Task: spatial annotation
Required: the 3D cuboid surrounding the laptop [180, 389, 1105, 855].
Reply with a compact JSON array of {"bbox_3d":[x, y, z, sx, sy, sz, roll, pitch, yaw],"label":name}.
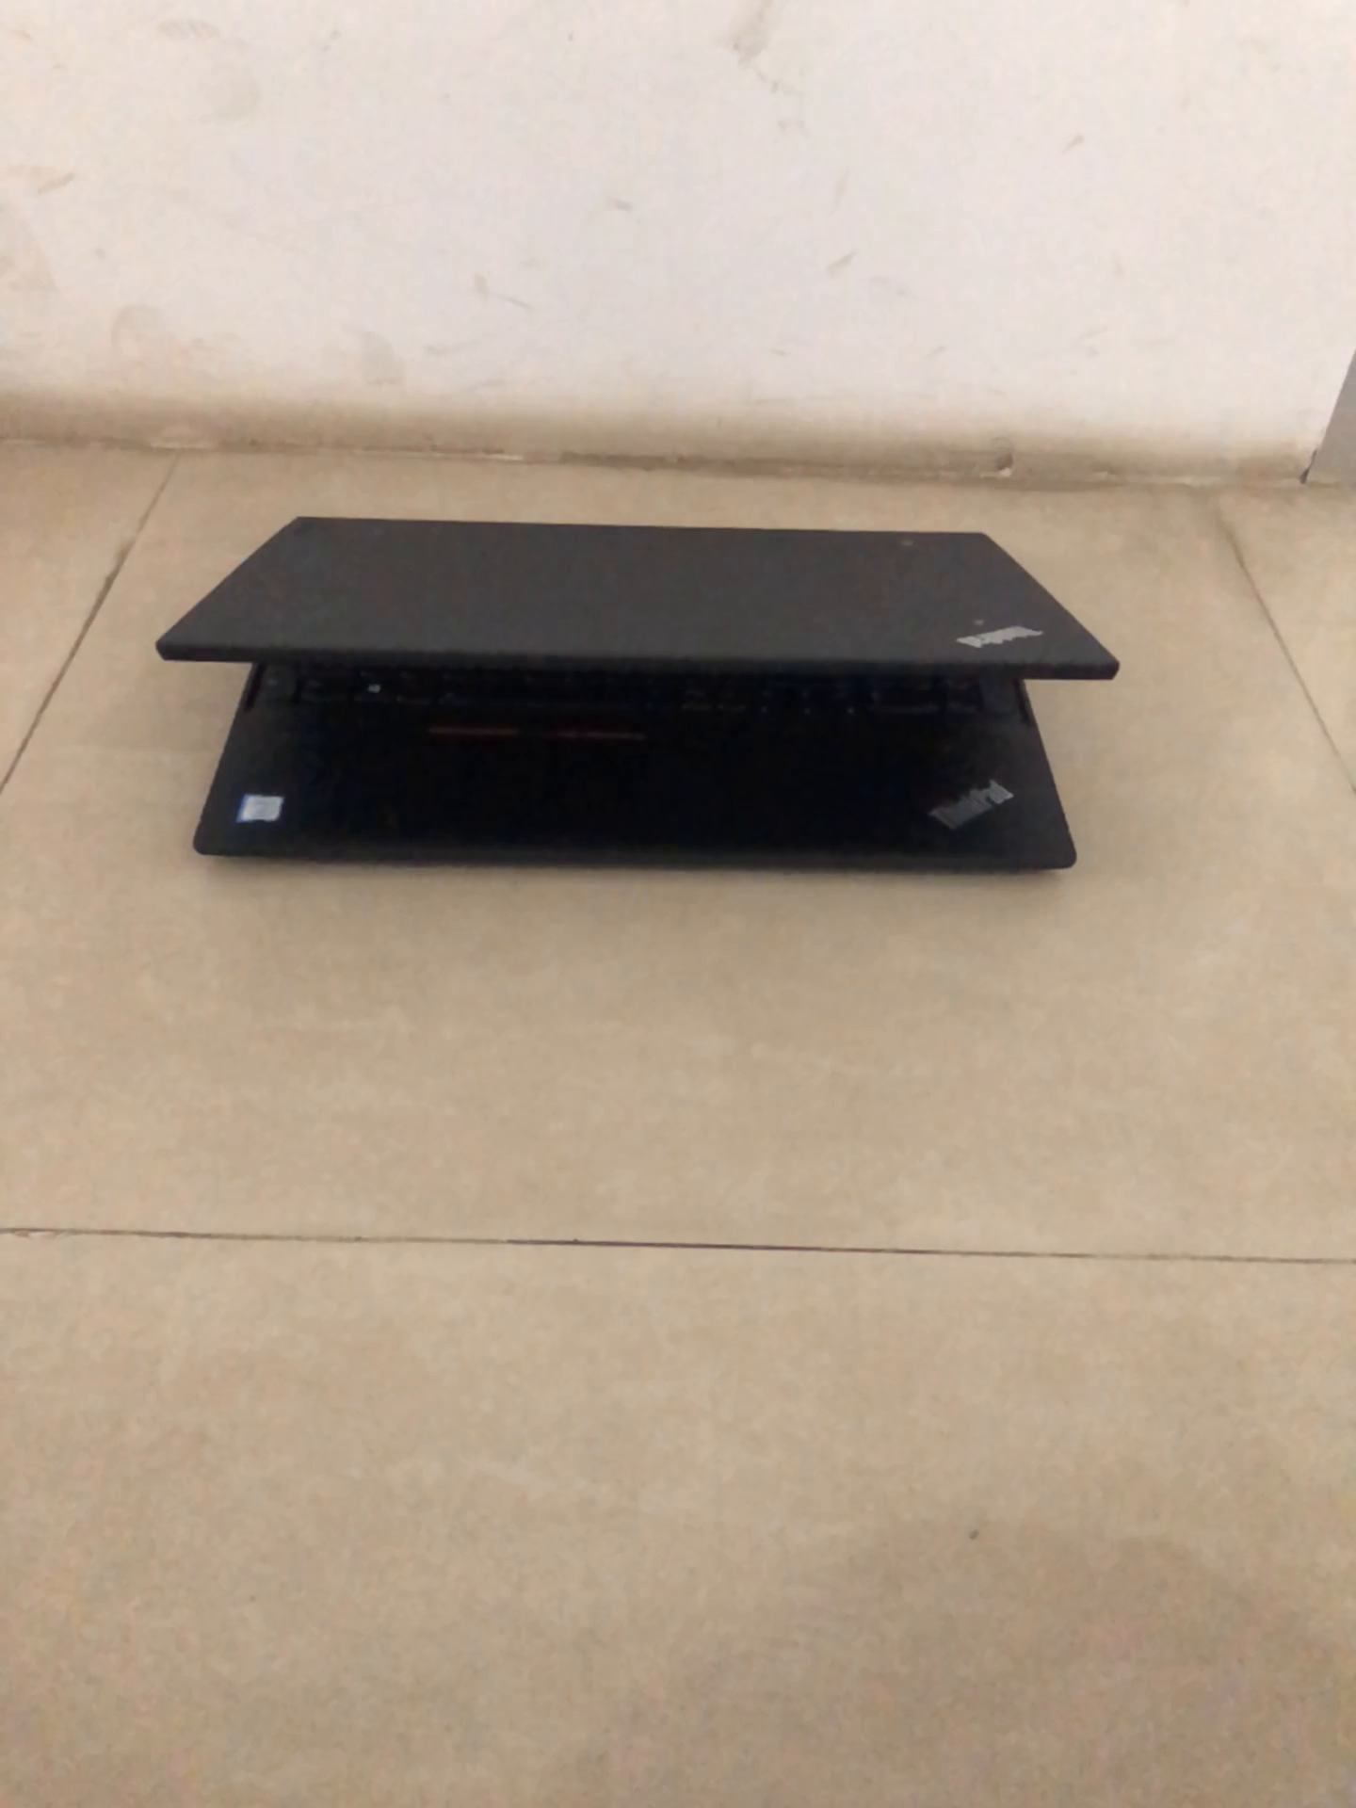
[{"bbox_3d":[-0.015,-0.135,0.669,0.349,0.071,0.238,1,47,-1],"label":"laptop"}]
